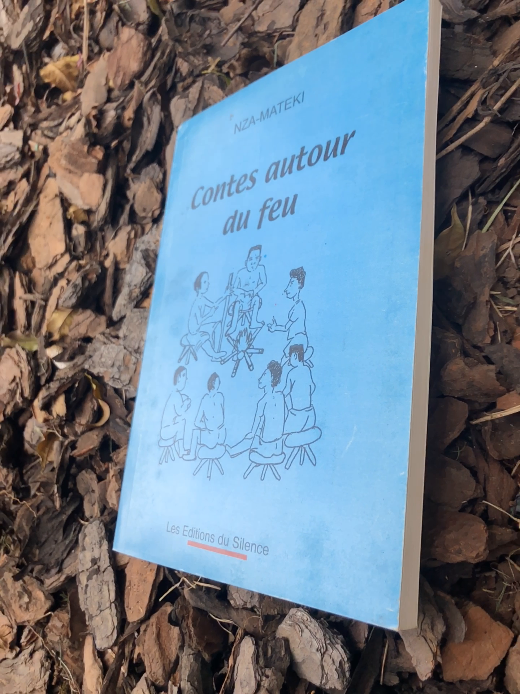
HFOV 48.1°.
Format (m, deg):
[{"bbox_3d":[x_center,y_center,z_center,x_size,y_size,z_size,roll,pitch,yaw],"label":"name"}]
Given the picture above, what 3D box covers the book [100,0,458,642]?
[{"bbox_3d":[0.000,-0.017,0.223,0.144,0.015,0.202,-6,72,44],"label":"book"}]
